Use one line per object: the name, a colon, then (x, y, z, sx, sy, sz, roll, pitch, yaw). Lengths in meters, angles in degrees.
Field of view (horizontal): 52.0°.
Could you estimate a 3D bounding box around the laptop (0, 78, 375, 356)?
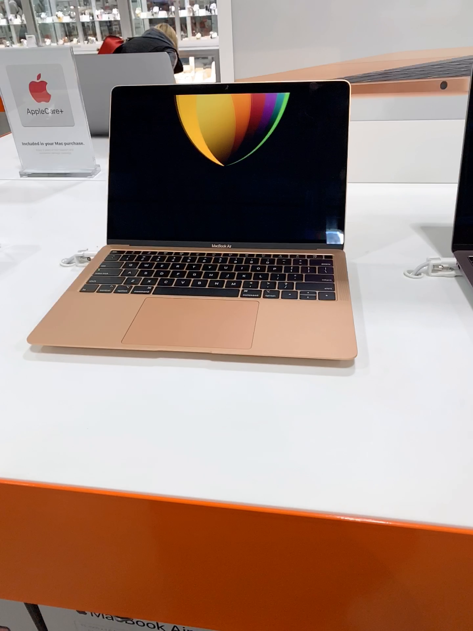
laptop: (-0.030, -0.129, 0.512, 0.293, 0.170, 0.311, 2, 33, 7)
